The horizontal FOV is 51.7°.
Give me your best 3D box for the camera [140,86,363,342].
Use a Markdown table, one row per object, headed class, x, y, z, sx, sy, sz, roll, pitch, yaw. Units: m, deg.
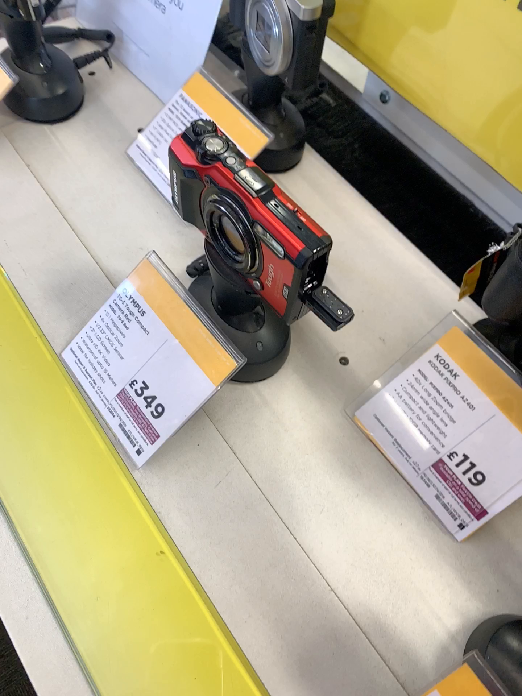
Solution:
| class | x | y | z | sx | sy | sz | roll | pitch | yaw |
| --- | --- | --- | --- | --- | --- | --- | --- | --- | --- |
| camera | -0.010 | -0.070 | 0.280 | 0.040 | 0.060 | 0.120 | -34 | 68 | -21 |
